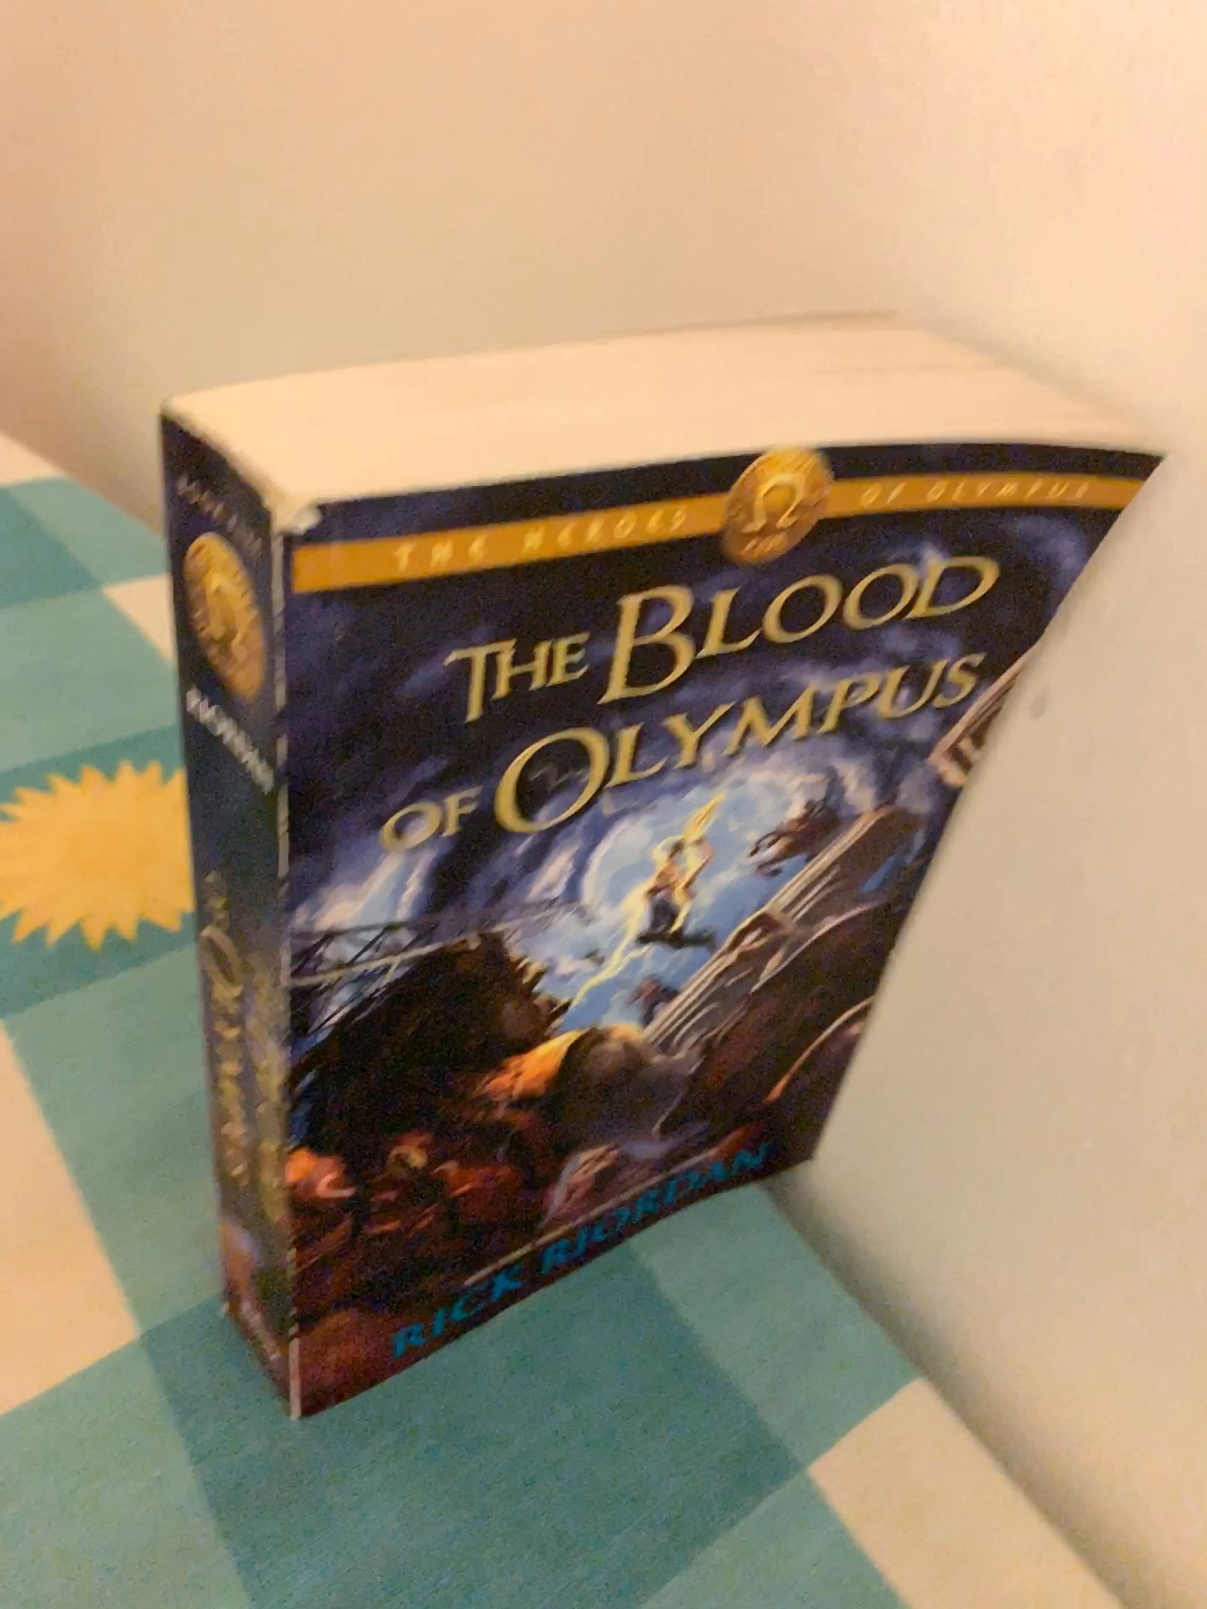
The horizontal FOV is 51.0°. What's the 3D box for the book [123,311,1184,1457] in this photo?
[{"bbox_3d":[0.003,0.013,0.229,0.151,0.179,0.051,-16,44,-33],"label":"book"}]
